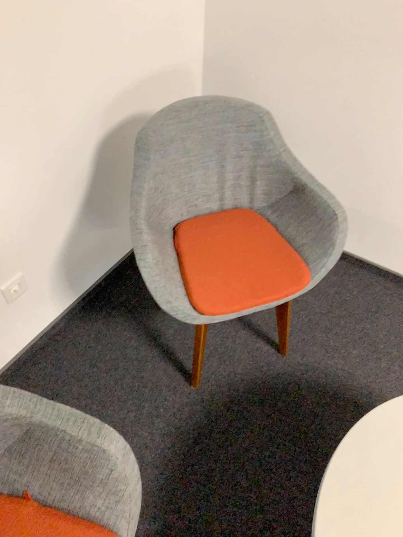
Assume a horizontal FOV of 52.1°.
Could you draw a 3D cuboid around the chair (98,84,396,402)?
[{"bbox_3d":[0.076,-0.059,1.391,0.631,0.836,0.502,-14,50,-16],"label":"chair"}]
